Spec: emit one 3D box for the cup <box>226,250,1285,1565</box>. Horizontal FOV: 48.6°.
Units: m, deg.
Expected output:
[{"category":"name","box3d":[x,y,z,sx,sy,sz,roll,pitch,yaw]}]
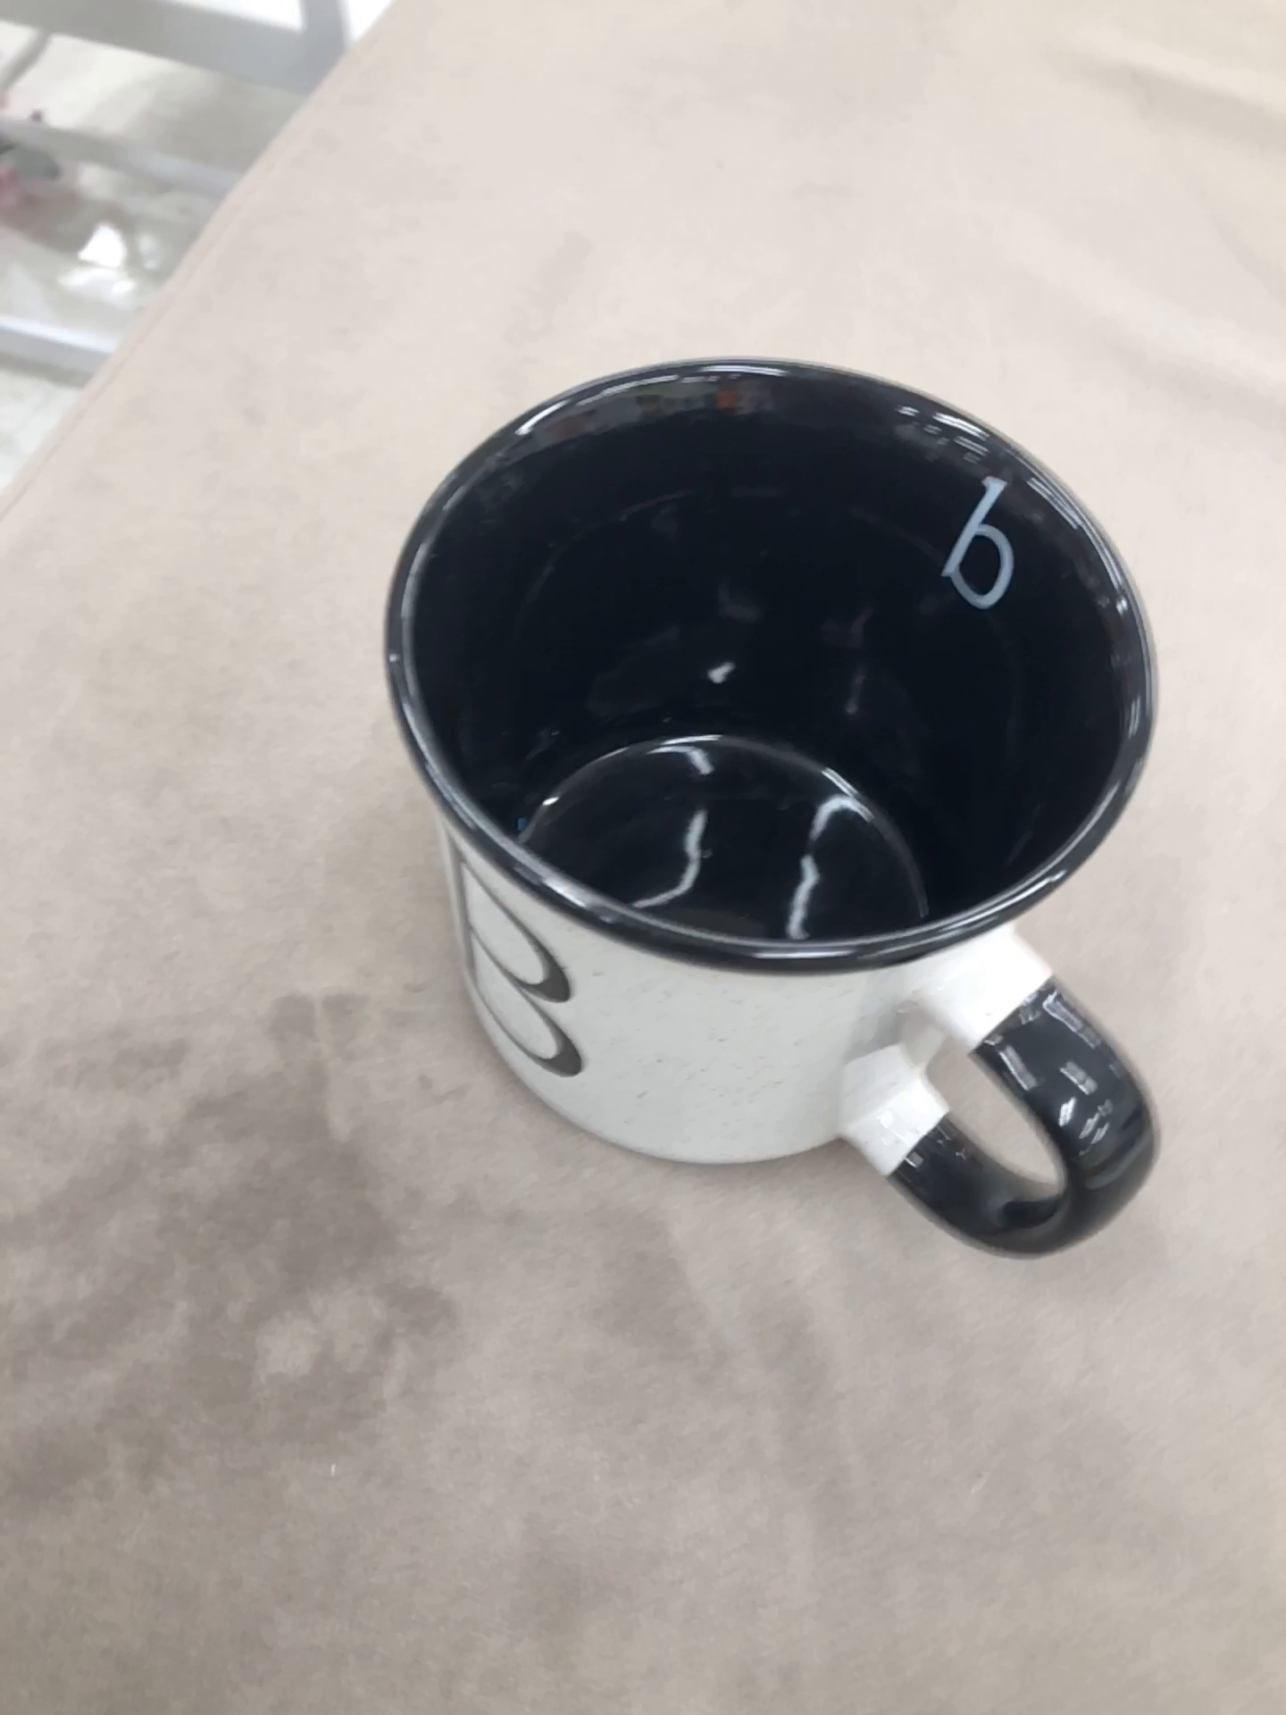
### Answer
[{"category":"cup","box3d":[0.029,0.004,0.218,0.100,0.090,0.150,-34,66,-21]}]
